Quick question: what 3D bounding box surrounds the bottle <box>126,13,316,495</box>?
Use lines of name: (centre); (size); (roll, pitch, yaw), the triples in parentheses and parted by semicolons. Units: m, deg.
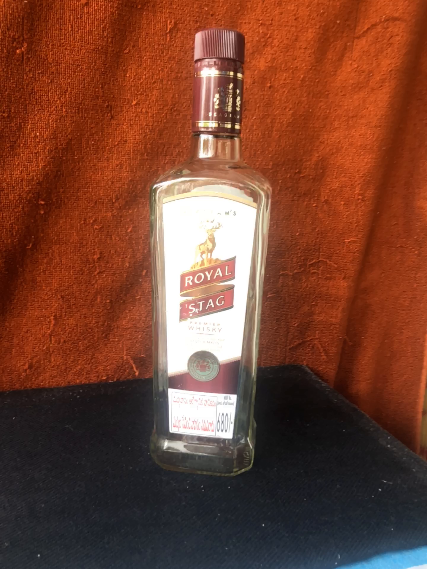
bottle: (-0.001, -0.009, 0.315); (0.090, 0.289, 0.060); (5, 14, 2)
